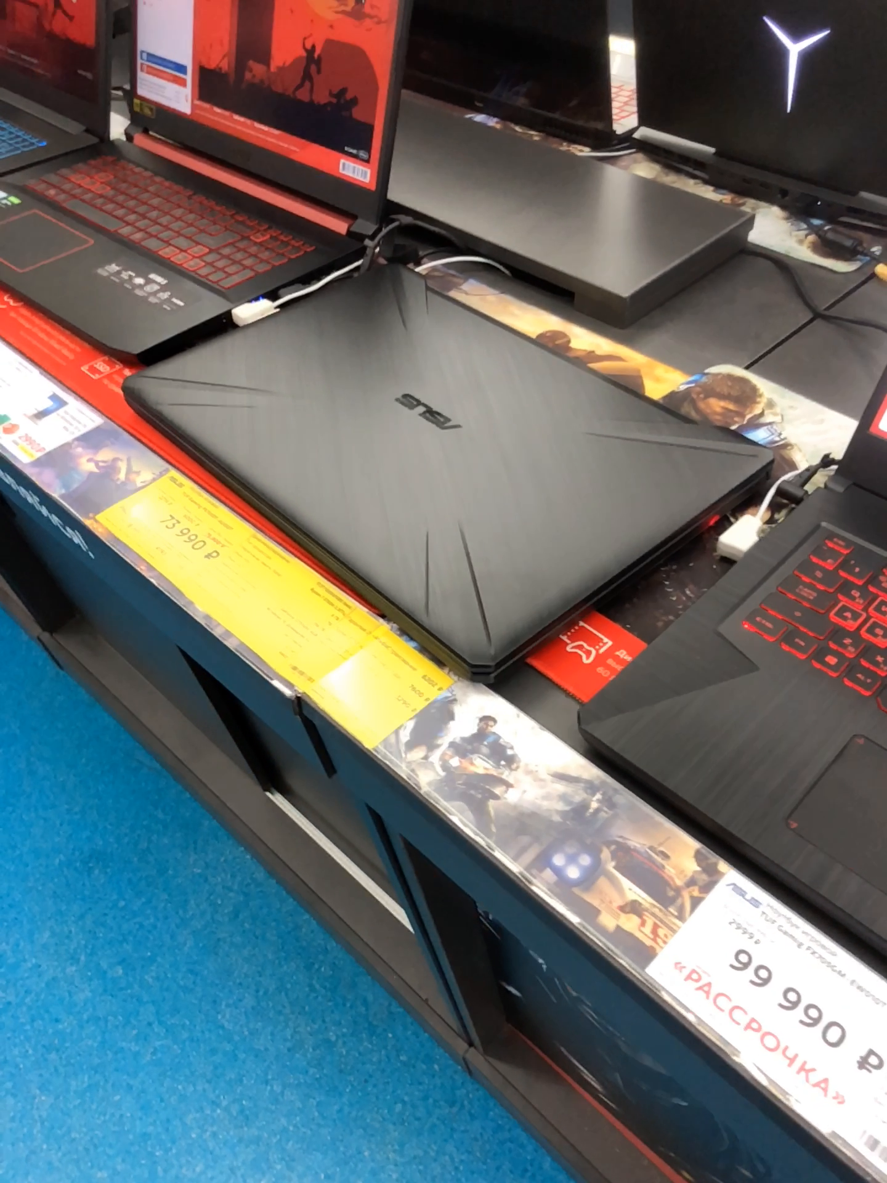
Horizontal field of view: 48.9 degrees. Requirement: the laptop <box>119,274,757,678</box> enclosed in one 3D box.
[{"bbox_3d":[-0.019,-0.116,0.683,0.261,0.001,0.386,-33,52,-28],"label":"laptop"}]
